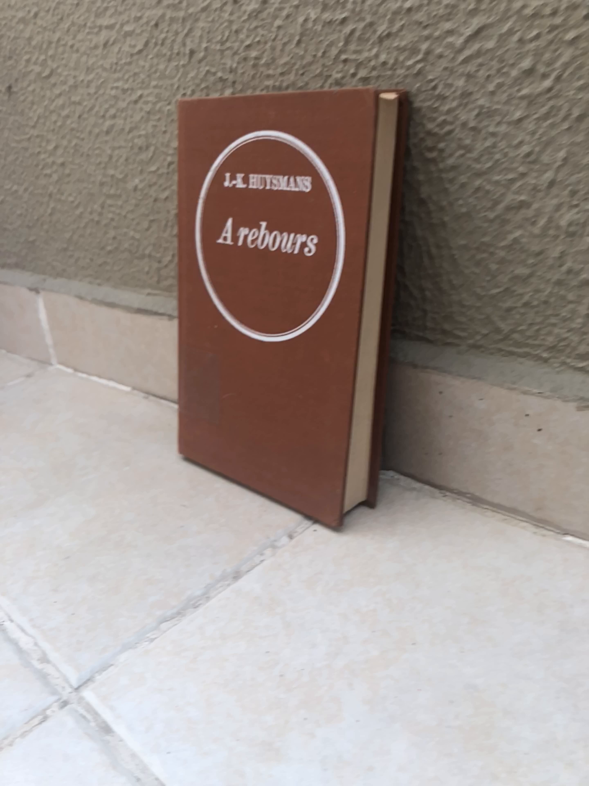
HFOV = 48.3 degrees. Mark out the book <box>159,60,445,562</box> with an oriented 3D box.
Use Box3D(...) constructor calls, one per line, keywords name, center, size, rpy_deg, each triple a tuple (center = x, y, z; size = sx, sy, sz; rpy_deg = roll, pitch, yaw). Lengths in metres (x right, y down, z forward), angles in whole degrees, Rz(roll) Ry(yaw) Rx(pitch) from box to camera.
Box3D(name="book", center=(-0.009, -0.044, 0.338), size=(0.150, 0.209, 0.040), rpy_deg=(16, 19, 42))
